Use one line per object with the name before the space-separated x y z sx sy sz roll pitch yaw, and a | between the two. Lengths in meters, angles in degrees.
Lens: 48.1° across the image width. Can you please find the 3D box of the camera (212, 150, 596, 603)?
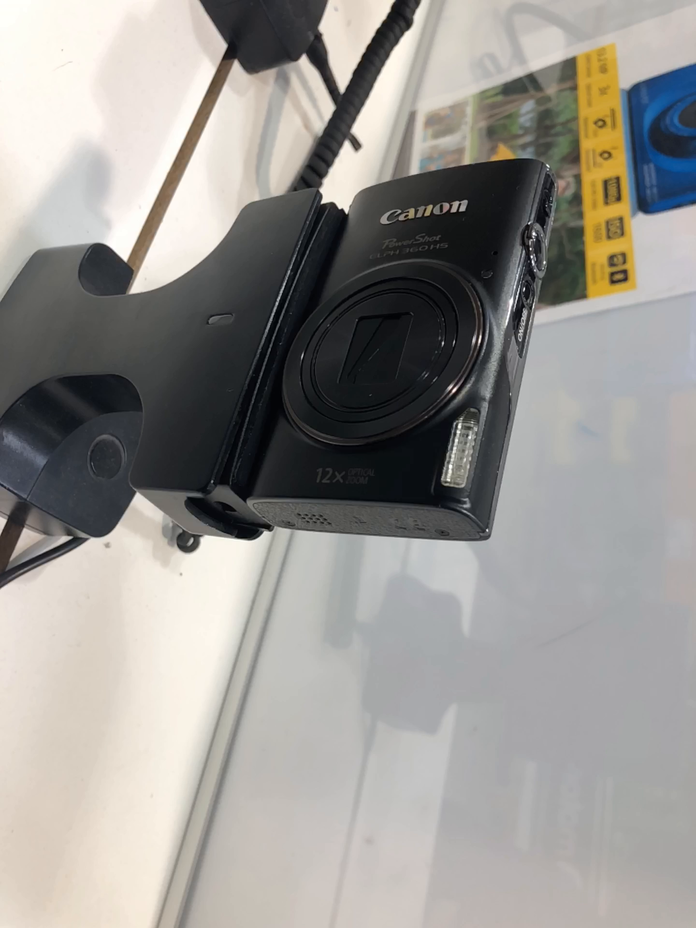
camera | 0.019 -0.024 0.200 0.030 0.070 0.110 51 46 -47
